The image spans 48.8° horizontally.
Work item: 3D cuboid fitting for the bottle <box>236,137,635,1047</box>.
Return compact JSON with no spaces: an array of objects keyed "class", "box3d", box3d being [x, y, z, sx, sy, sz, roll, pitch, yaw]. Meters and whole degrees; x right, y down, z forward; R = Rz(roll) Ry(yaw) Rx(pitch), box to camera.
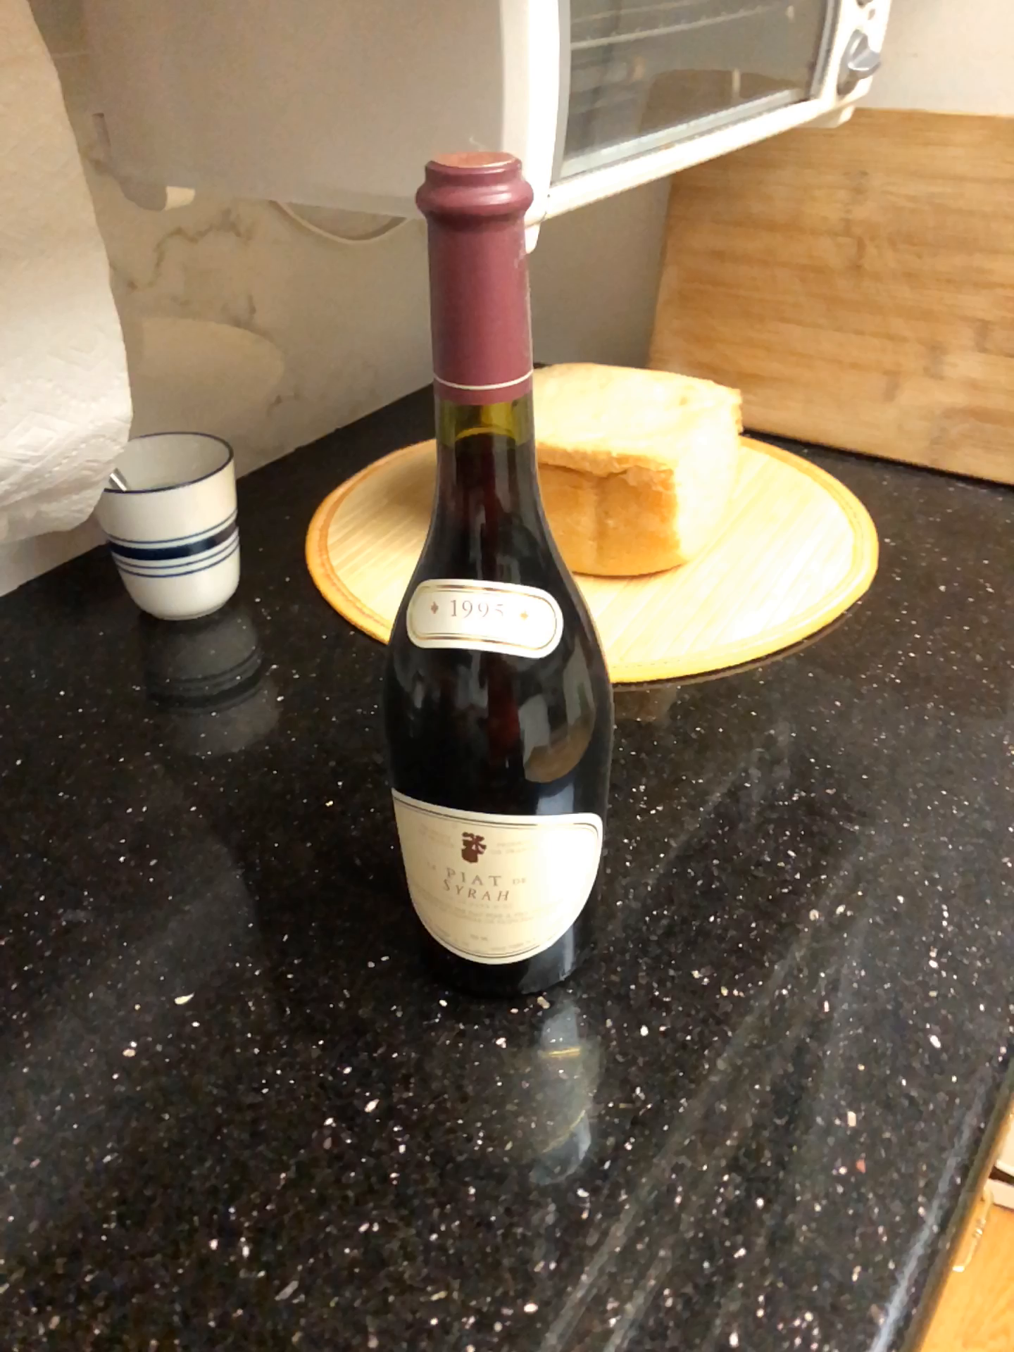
[{"class":"bottle","box3d":[-0.009,-0.013,0.393,0.090,0.308,0.091,-2,34,1]}]
